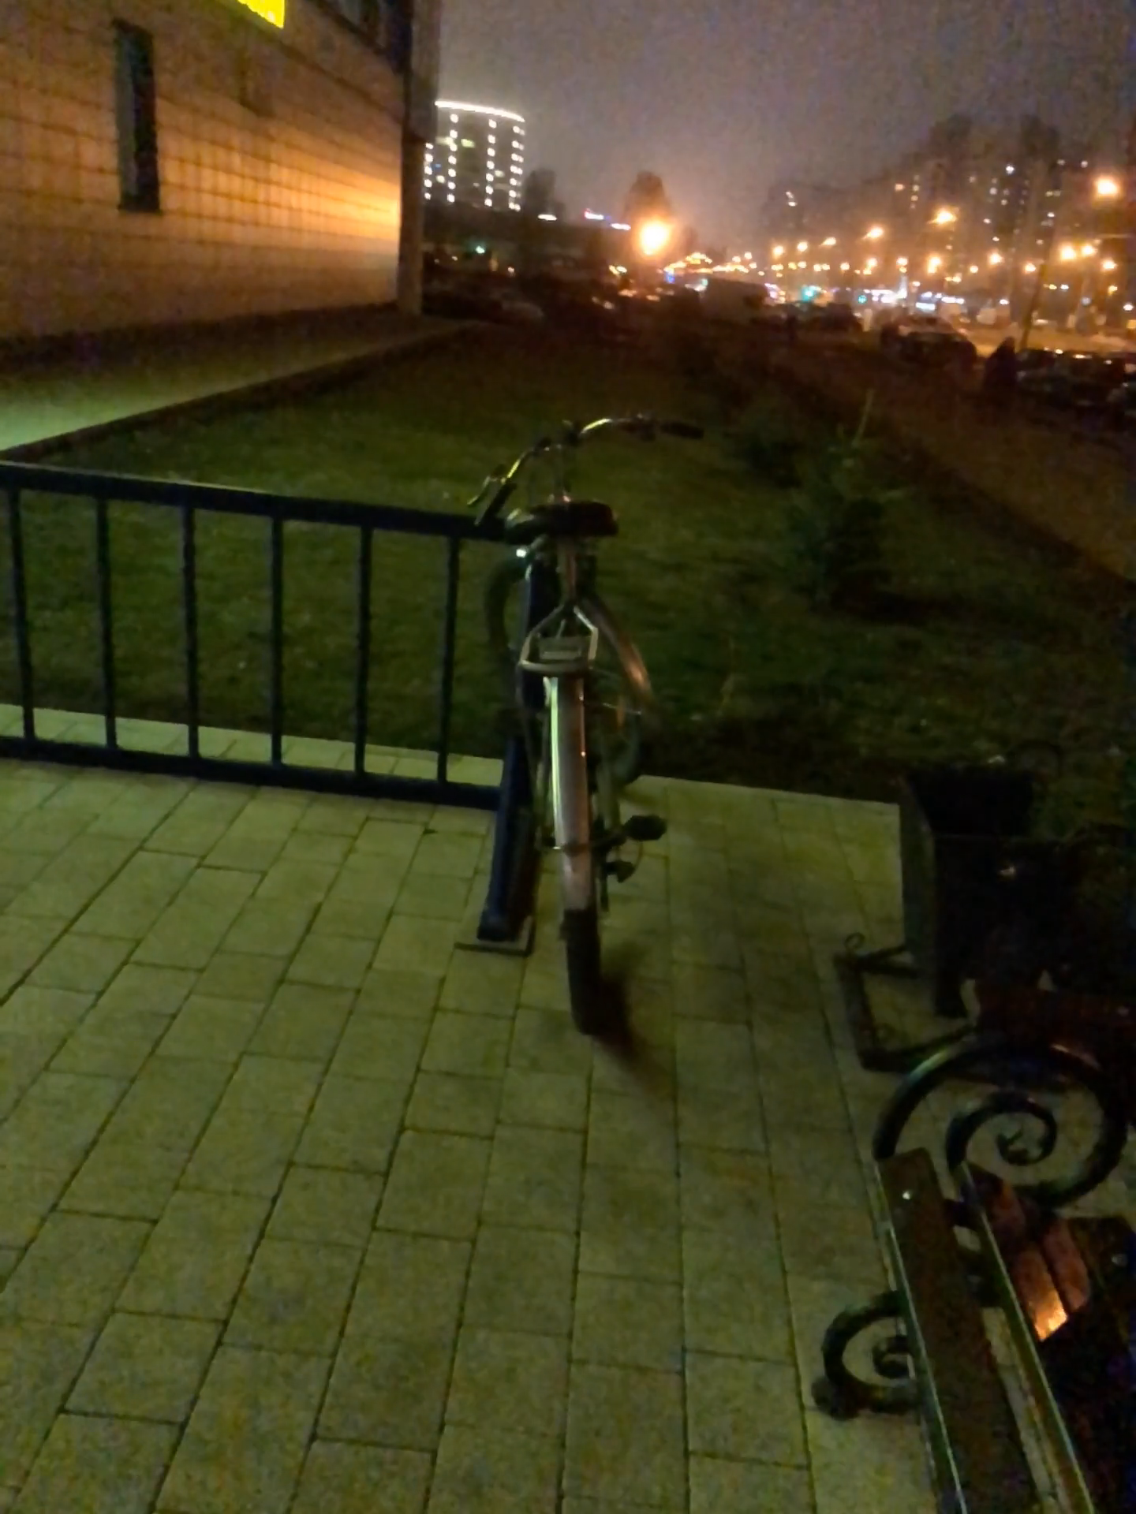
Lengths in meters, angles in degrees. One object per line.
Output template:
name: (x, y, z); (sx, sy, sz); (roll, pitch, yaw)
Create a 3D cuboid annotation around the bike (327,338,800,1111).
bike: (-0.141, -0.256, 2.771); (0.679, 1.047, 1.727); (2, 24, -7)
